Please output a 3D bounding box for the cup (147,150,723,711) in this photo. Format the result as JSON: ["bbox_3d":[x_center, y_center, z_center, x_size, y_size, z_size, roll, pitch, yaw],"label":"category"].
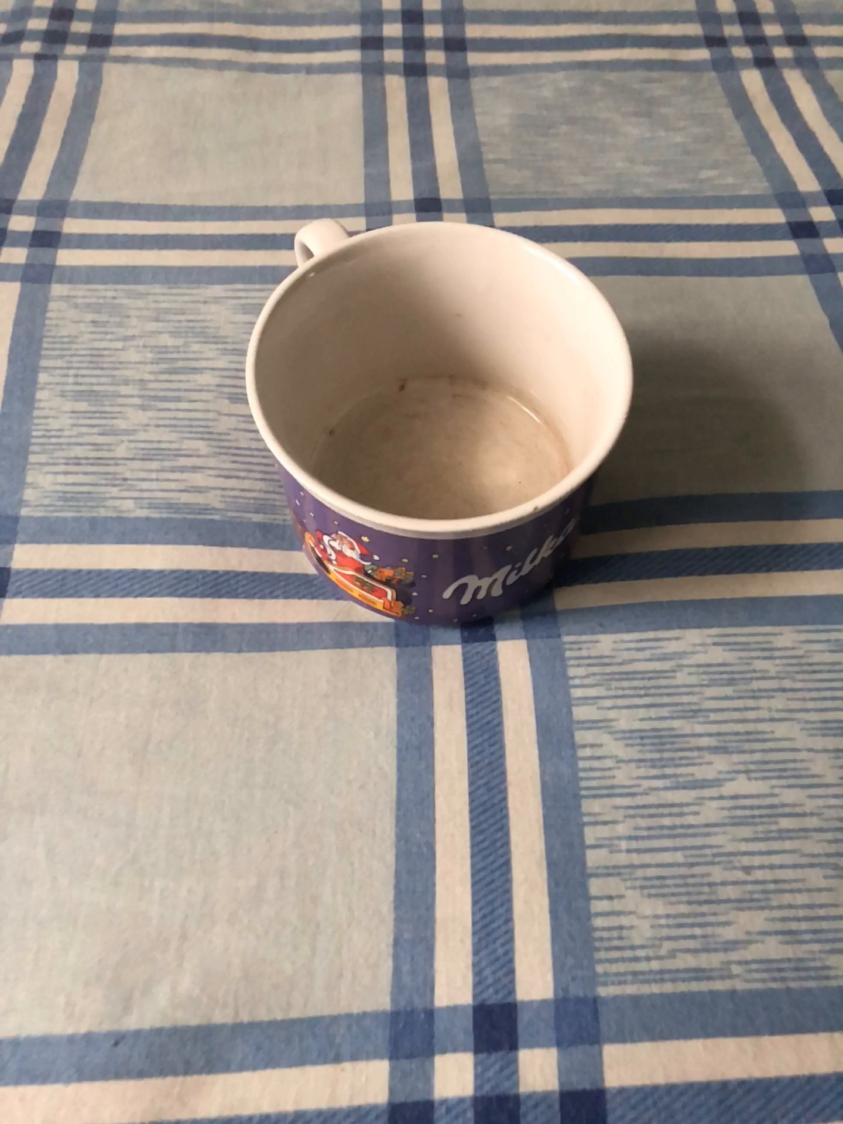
[{"bbox_3d":[-0.002,-0.045,0.280,0.104,0.063,0.130,-25,62,-16],"label":"cup"}]
